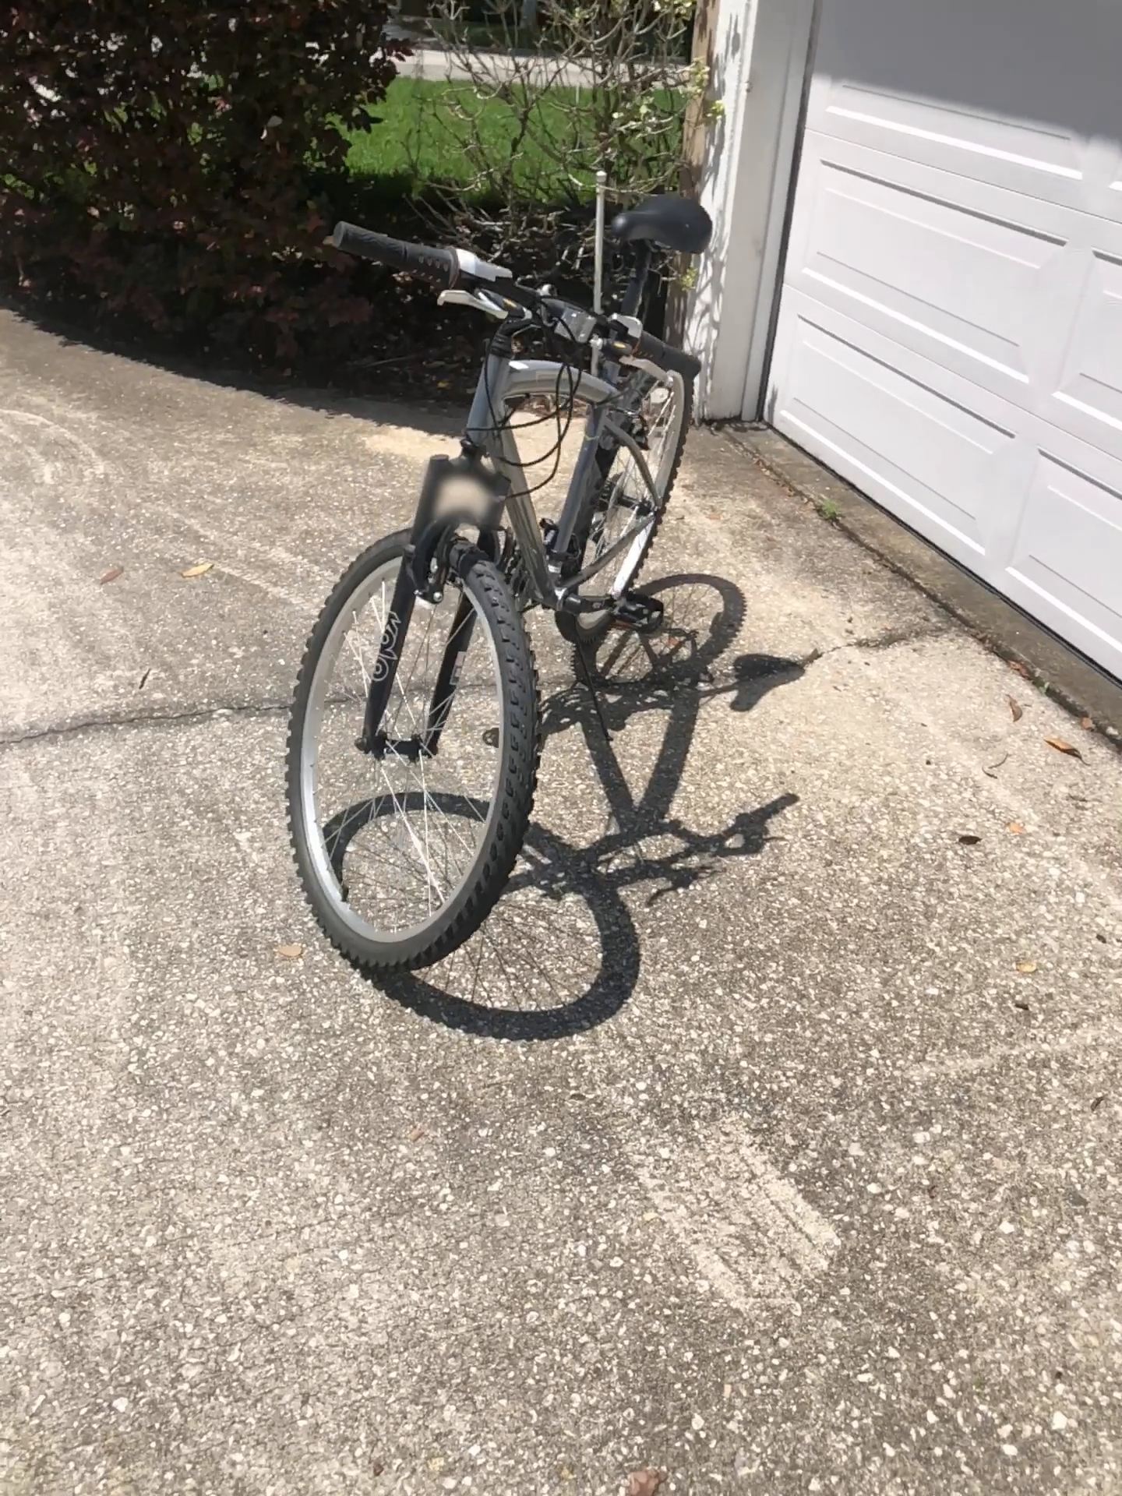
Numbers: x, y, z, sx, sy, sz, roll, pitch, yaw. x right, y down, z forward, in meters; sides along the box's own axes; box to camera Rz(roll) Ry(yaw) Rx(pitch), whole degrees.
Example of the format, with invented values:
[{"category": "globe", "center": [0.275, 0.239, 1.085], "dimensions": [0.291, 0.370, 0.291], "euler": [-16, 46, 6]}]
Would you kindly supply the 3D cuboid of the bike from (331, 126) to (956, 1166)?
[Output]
[{"category": "bike", "center": [0.175, -0.373, 2.144], "dimensions": [0.679, 0.980, 1.540], "euler": [9, 36, 9]}]
